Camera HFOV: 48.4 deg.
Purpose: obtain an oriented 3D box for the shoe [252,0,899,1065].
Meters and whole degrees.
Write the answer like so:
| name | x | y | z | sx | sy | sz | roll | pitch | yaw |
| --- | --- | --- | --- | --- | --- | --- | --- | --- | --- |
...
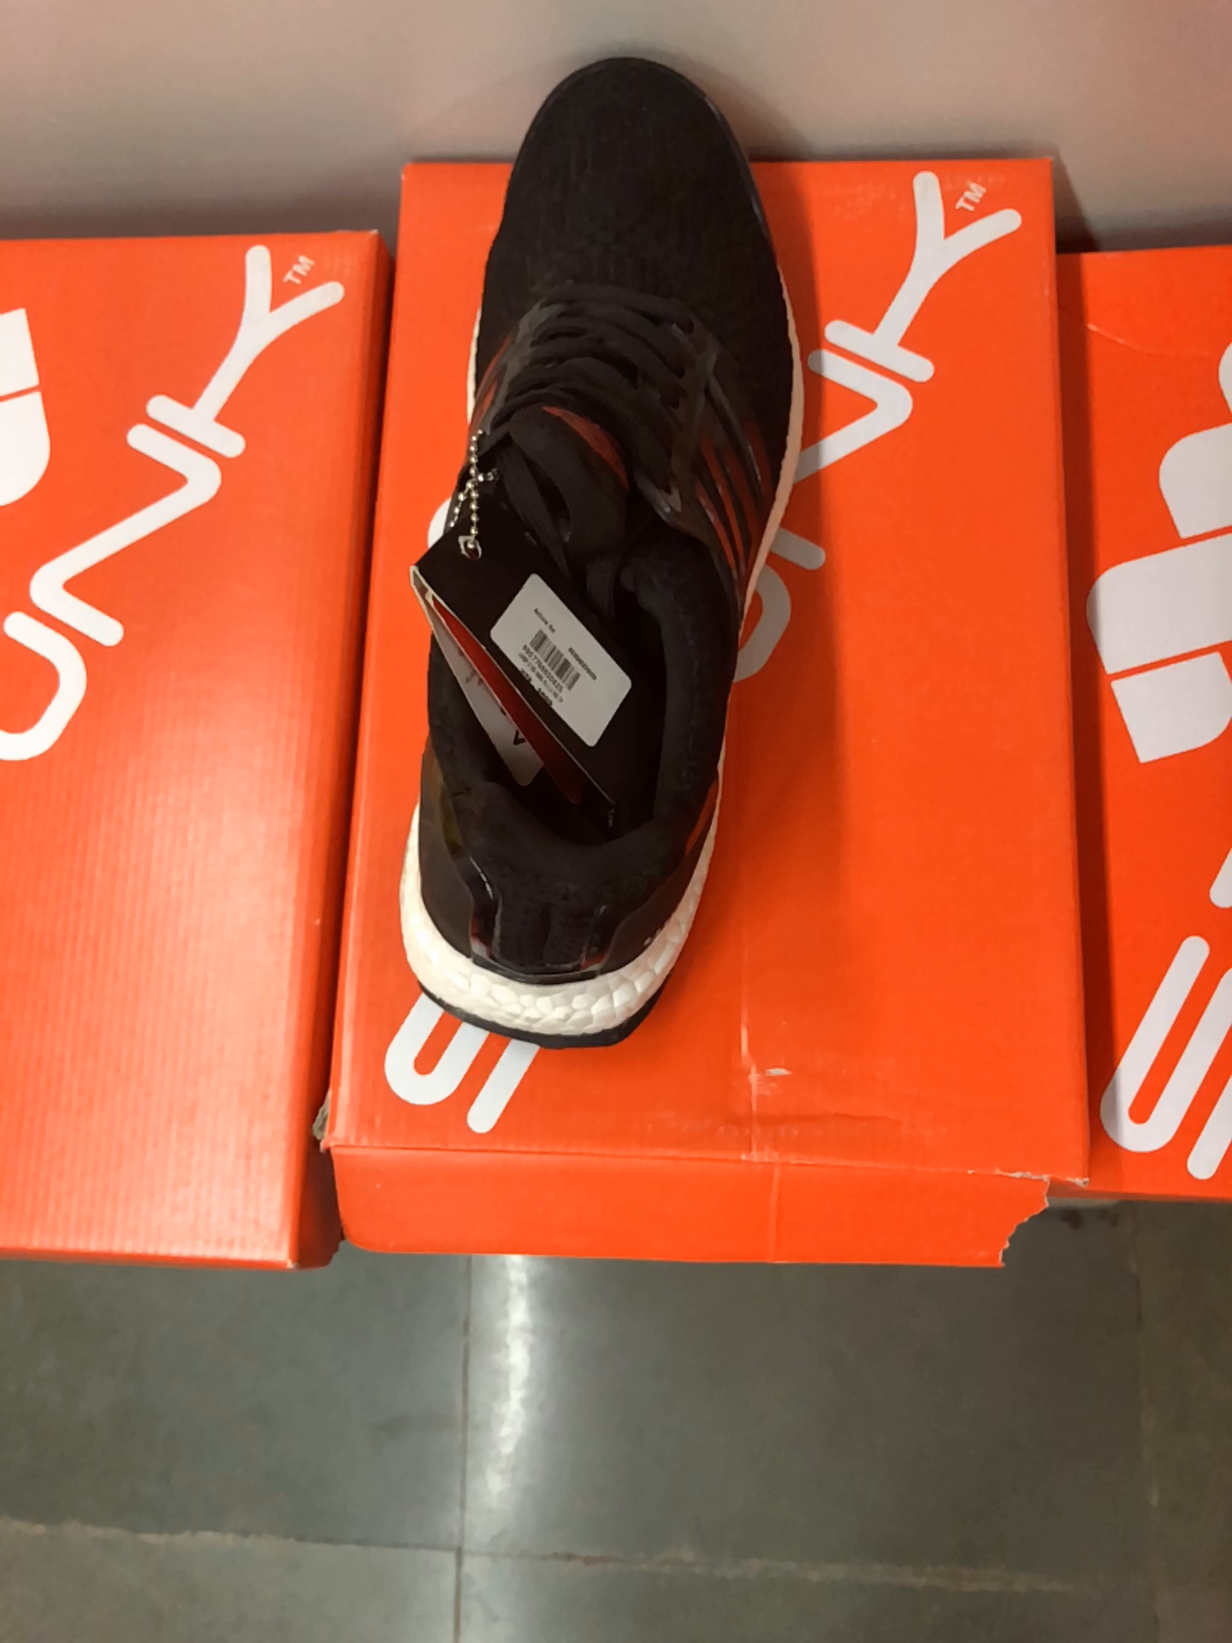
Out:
| name | x | y | z | sx | sy | sz | roll | pitch | yaw |
| --- | --- | --- | --- | --- | --- | --- | --- | --- | --- |
| shoe | -0.002 | -0.085 | 0.386 | 0.117 | 0.120 | 0.289 | 7 | 79 | 3 |
